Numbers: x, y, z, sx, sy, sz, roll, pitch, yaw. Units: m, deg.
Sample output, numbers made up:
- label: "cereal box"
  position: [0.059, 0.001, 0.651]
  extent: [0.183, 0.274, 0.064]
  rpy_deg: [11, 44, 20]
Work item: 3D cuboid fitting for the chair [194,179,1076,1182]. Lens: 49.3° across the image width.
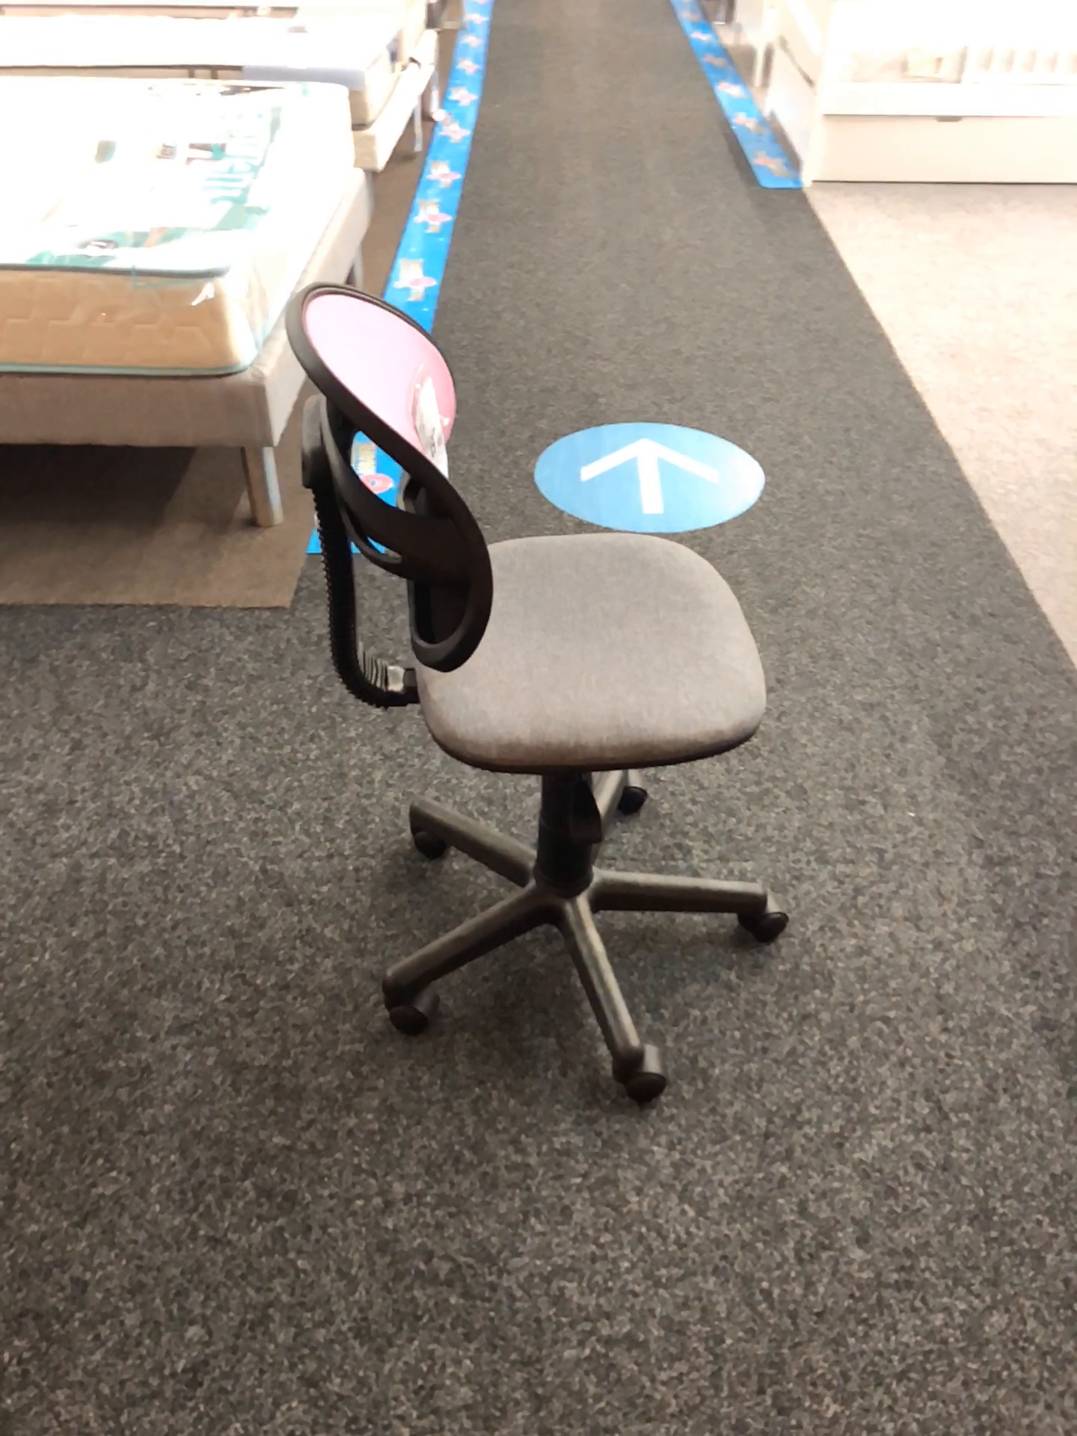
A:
- label: "chair"
  position: [0.028, -0.063, 1.251]
  extent: [0.601, 0.775, 0.603]
  rpy_deg: [-10, 40, -13]
